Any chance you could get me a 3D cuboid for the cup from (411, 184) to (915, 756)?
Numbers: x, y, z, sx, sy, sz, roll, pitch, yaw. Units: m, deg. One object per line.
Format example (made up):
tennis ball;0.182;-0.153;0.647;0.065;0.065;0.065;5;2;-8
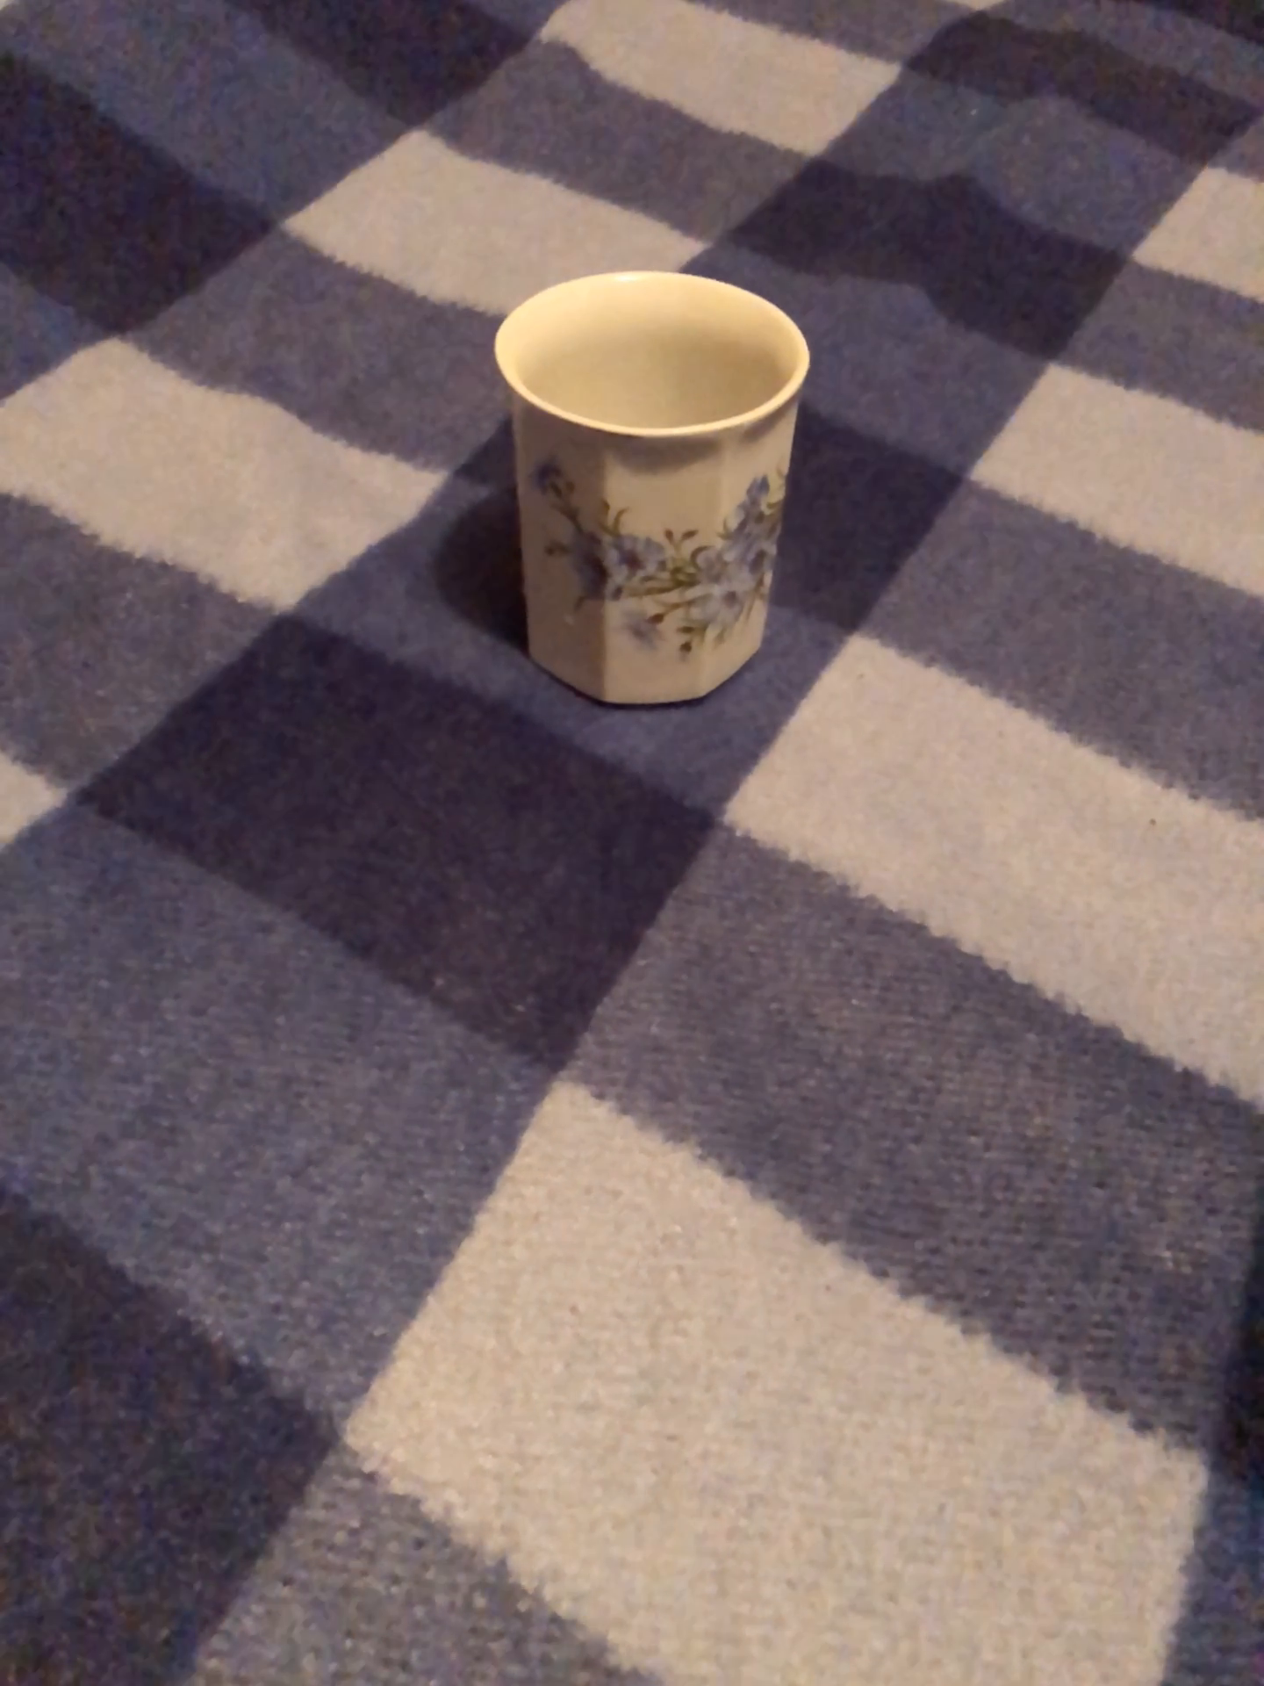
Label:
cup;0.007;-0.101;0.377;0.077;0.094;0.098;38;58;23
